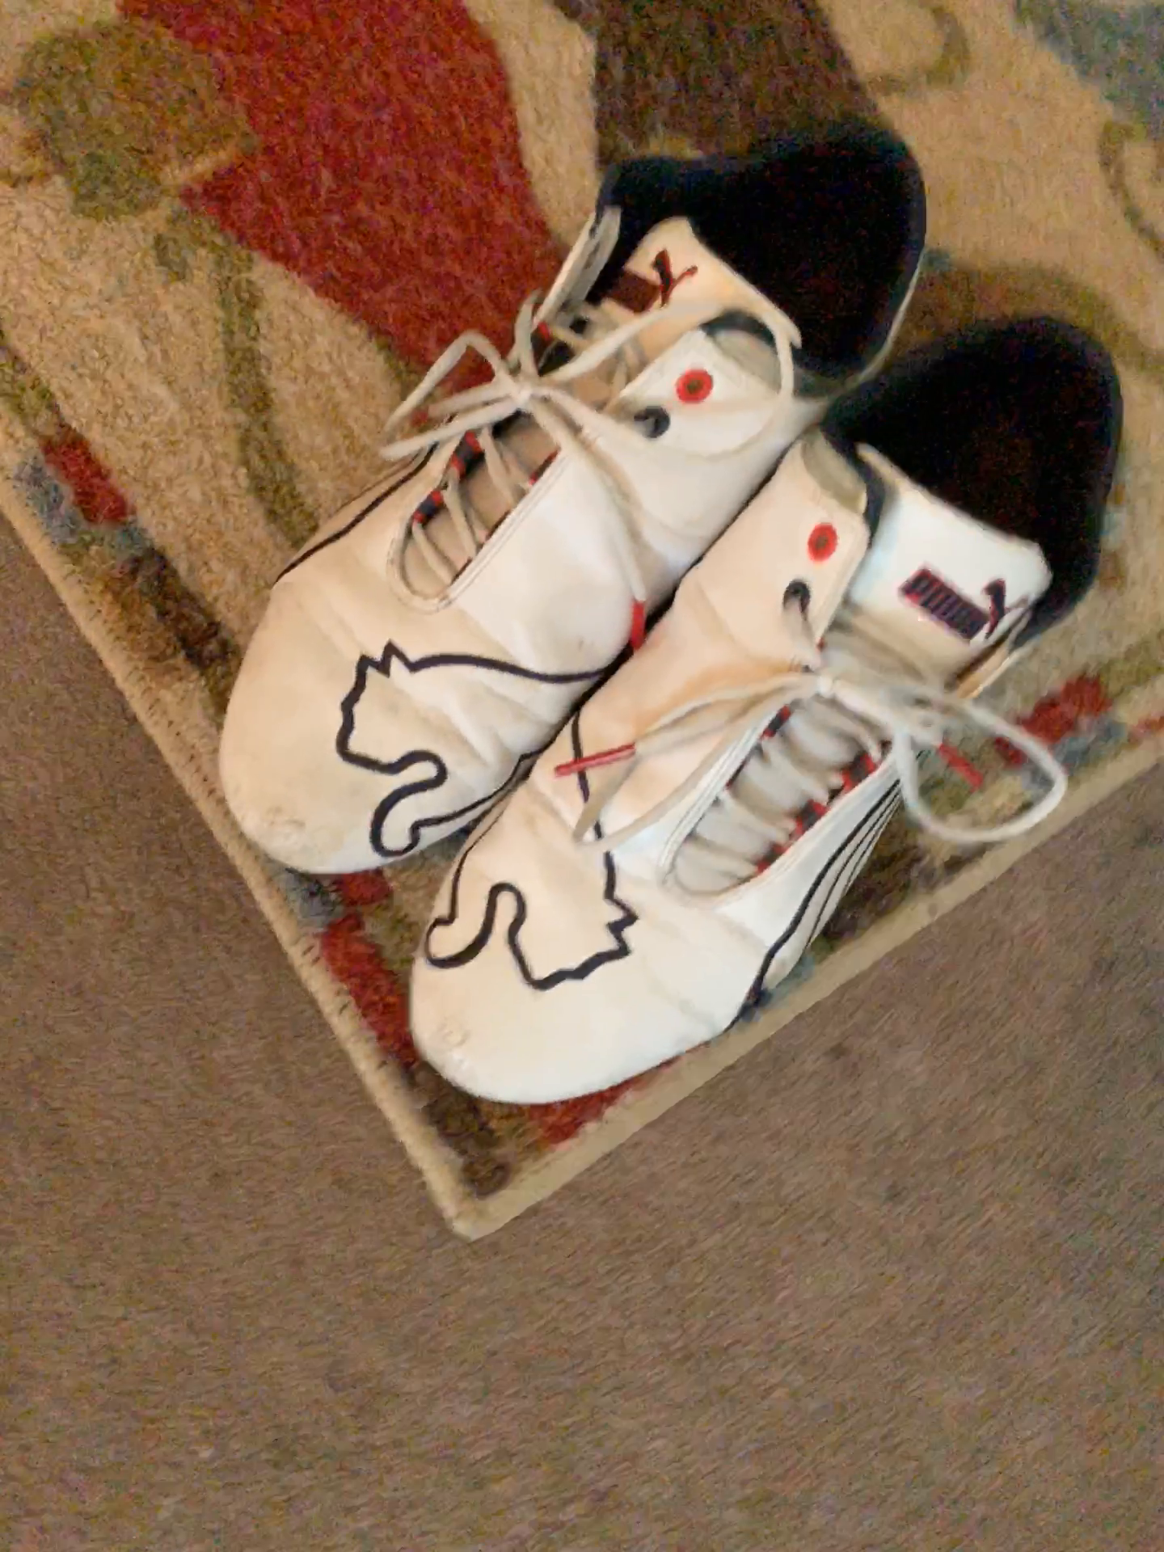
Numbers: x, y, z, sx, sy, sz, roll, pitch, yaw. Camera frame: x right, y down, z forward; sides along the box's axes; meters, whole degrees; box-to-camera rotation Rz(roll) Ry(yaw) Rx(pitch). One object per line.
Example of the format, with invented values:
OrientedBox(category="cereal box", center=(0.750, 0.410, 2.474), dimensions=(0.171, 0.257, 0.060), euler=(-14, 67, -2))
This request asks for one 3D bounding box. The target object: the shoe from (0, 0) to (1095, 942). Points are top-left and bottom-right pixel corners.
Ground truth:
OrientedBox(category="shoe", center=(0.000, -0.097, 0.348), dimensions=(0.100, 0.107, 0.291), euler=(44, 74, 6))

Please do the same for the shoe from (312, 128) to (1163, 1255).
OrientedBox(category="shoe", center=(0.069, -0.027, 0.335), dimensions=(0.100, 0.107, 0.291), euler=(41, 74, 4))
